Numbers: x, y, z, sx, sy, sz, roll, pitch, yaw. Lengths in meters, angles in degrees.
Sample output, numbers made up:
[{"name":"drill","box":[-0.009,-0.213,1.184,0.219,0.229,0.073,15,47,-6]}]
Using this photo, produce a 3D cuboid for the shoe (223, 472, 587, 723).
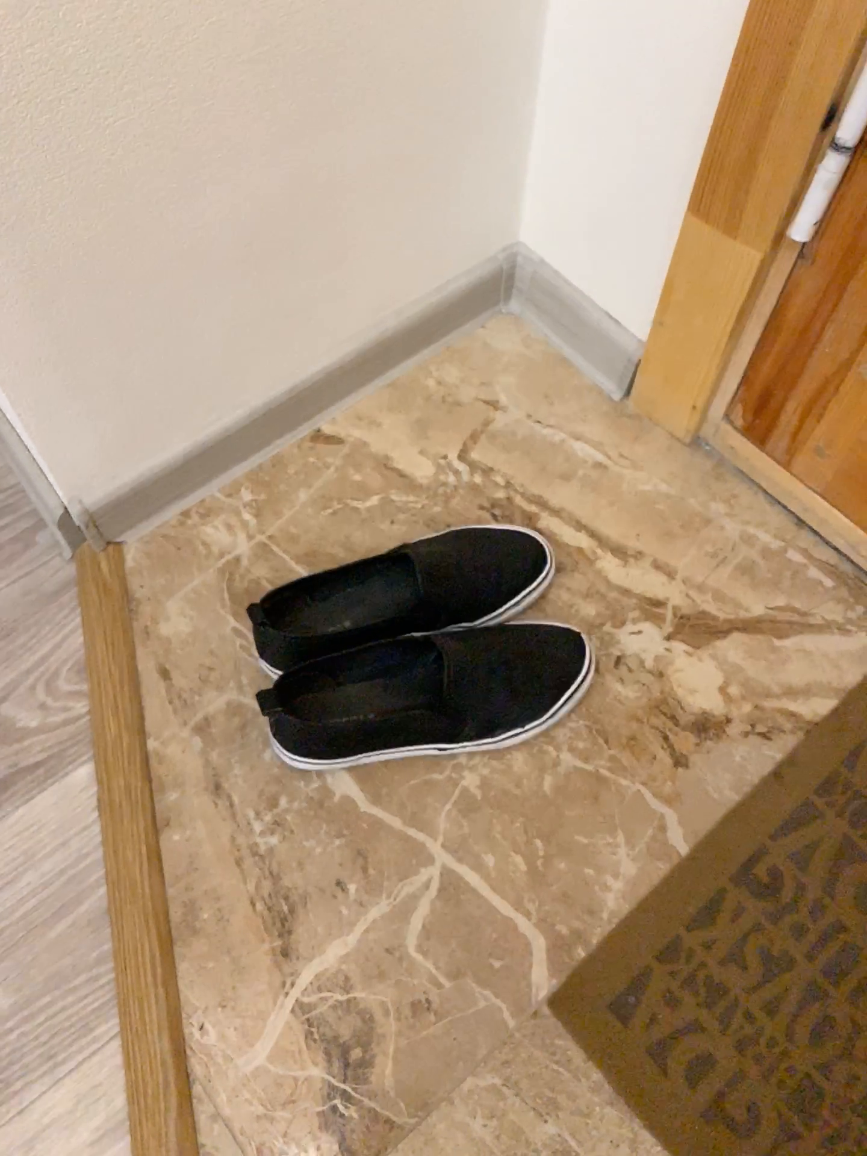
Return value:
[{"name":"shoe","box":[-0.020,0.011,0.675,0.250,0.060,0.090,-21,62,-13]}]

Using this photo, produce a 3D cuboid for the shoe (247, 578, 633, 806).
[{"name":"shoe","box":[0.003,0.080,0.638,0.250,0.060,0.090,-12,61,-9]}]
